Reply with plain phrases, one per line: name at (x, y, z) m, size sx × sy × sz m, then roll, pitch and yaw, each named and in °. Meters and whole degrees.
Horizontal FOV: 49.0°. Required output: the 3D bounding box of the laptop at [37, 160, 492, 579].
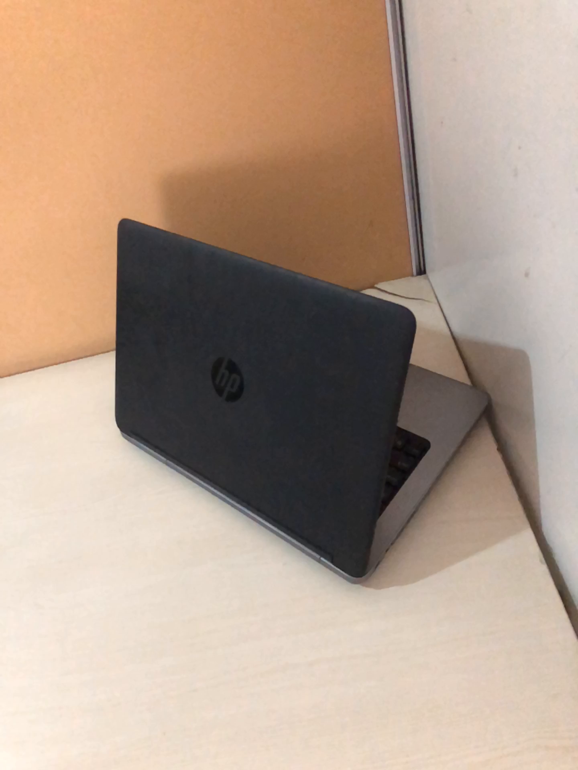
laptop at (-0.013, -0.039, 0.589) m, size 0.319 × 0.192 × 0.228 m, roll 24°, pitch 58°, yaw 34°
